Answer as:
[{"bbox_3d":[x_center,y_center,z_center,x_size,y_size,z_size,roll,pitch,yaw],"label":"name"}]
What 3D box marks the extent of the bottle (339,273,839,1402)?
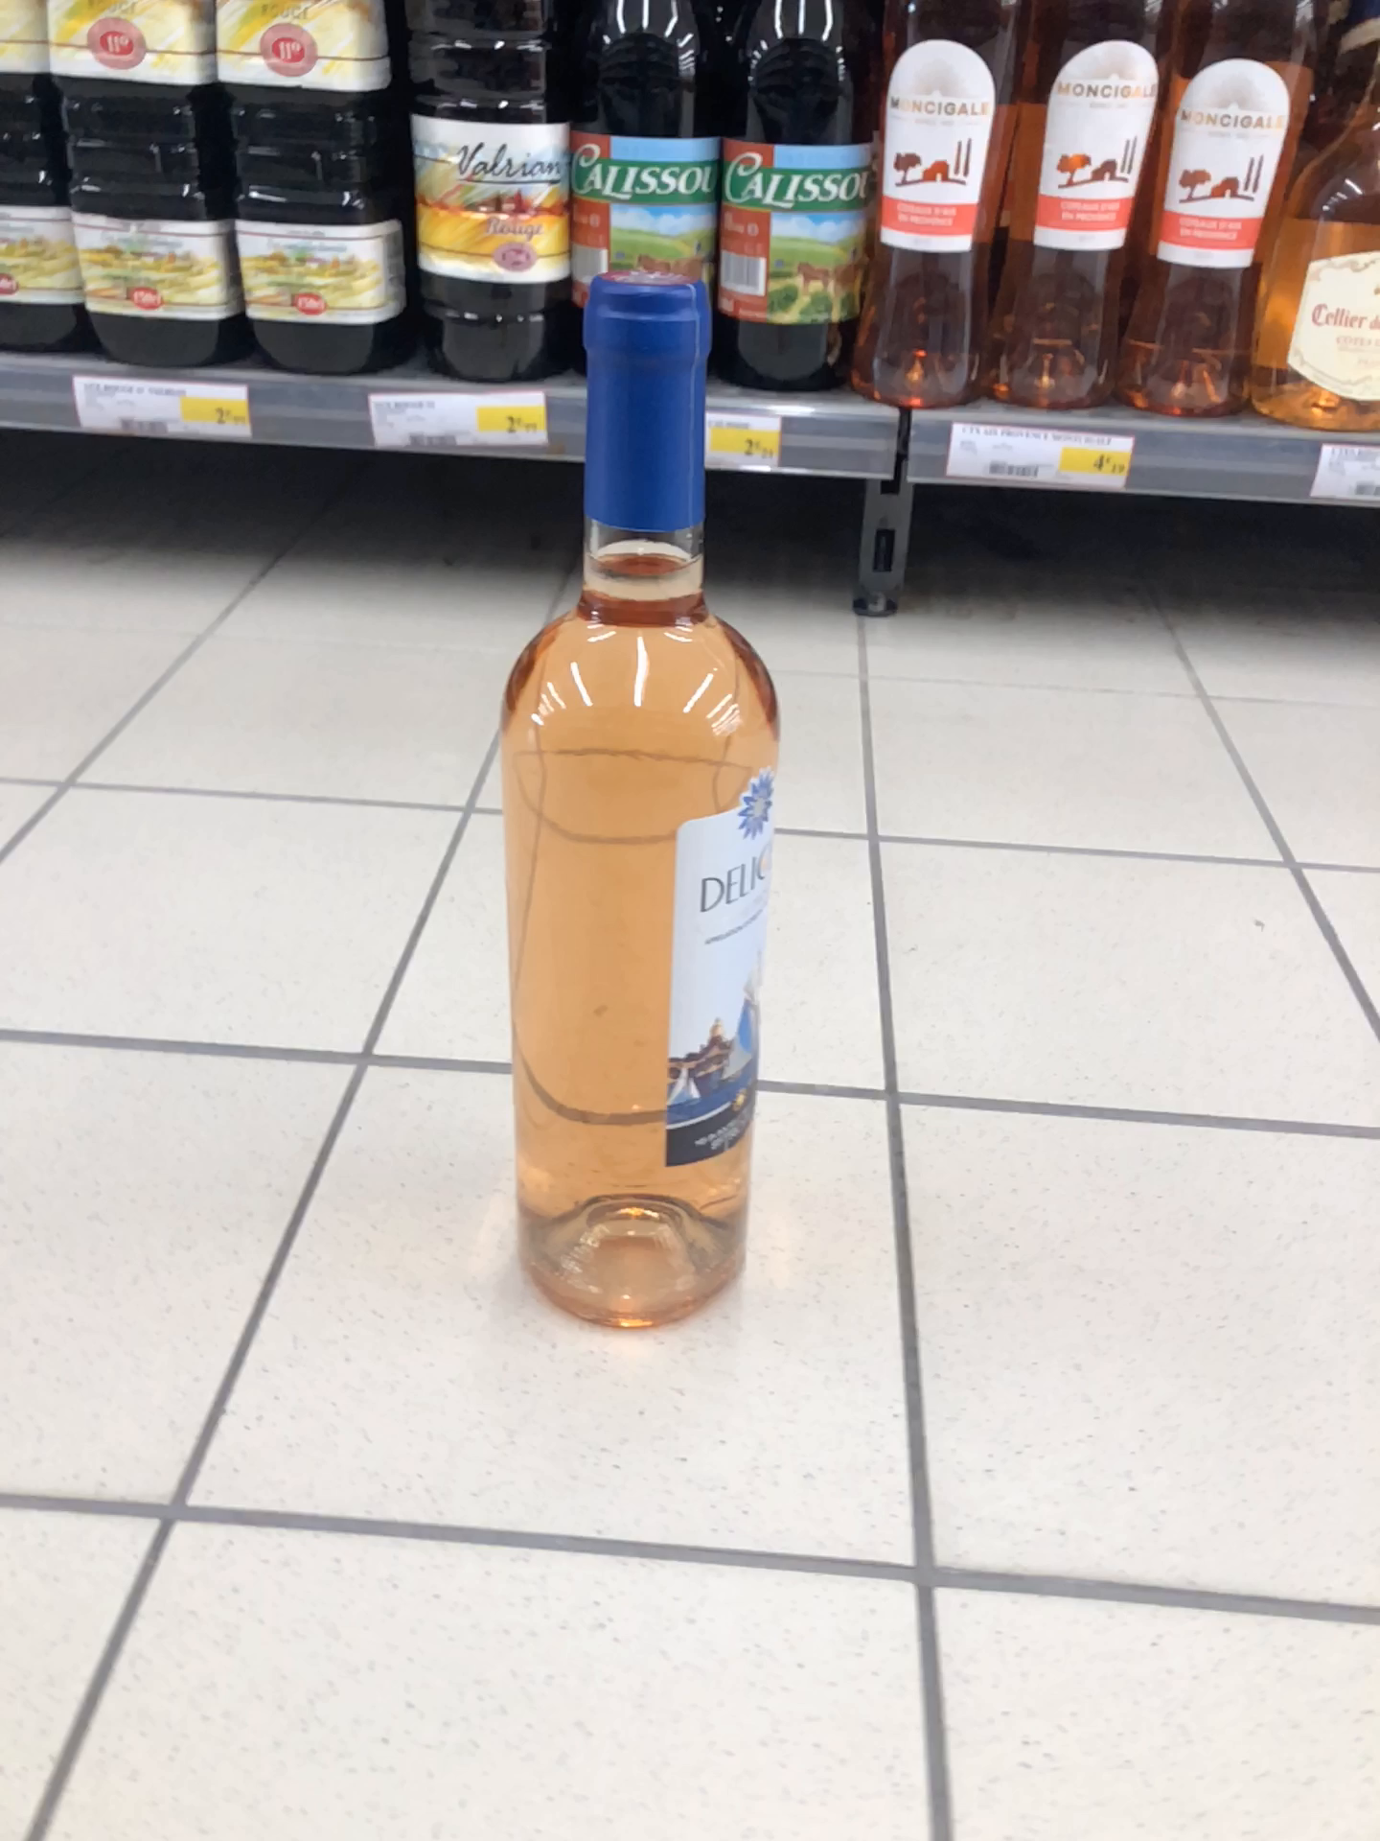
[{"bbox_3d":[-0.026,-0.014,0.416,0.080,0.288,0.081,2,30,-1],"label":"bottle"}]
